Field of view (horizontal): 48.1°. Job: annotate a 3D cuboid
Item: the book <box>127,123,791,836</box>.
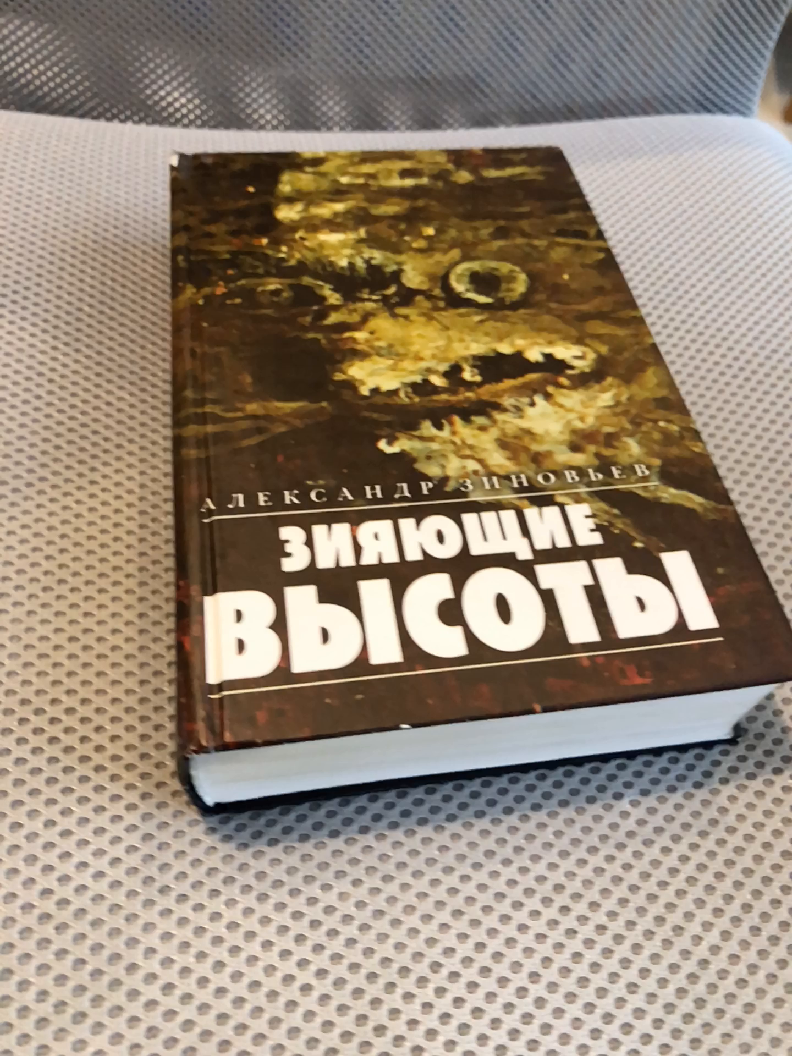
[{"bbox_3d":[0.004,-0.030,0.236,0.140,0.040,0.191,-4,60,-10],"label":"book"}]
